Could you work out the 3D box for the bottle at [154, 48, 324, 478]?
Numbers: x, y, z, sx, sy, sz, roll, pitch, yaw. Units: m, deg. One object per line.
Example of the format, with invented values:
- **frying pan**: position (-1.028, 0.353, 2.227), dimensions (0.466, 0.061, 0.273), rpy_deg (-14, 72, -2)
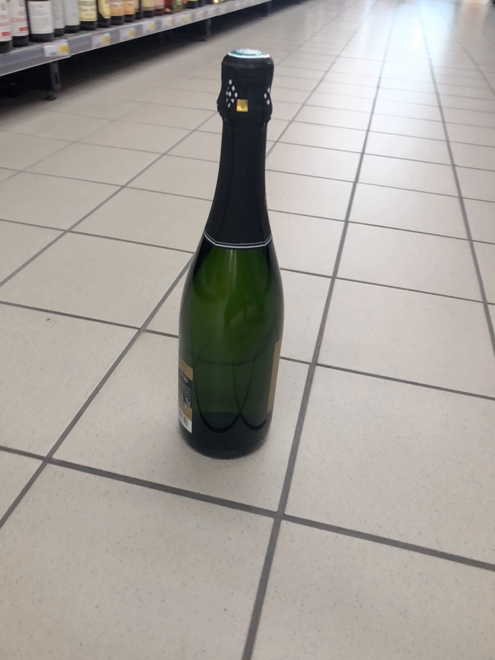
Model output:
- **bottle**: position (-0.019, -0.033, 0.414), dimensions (0.090, 0.308, 0.101), rpy_deg (1, 34, -6)
